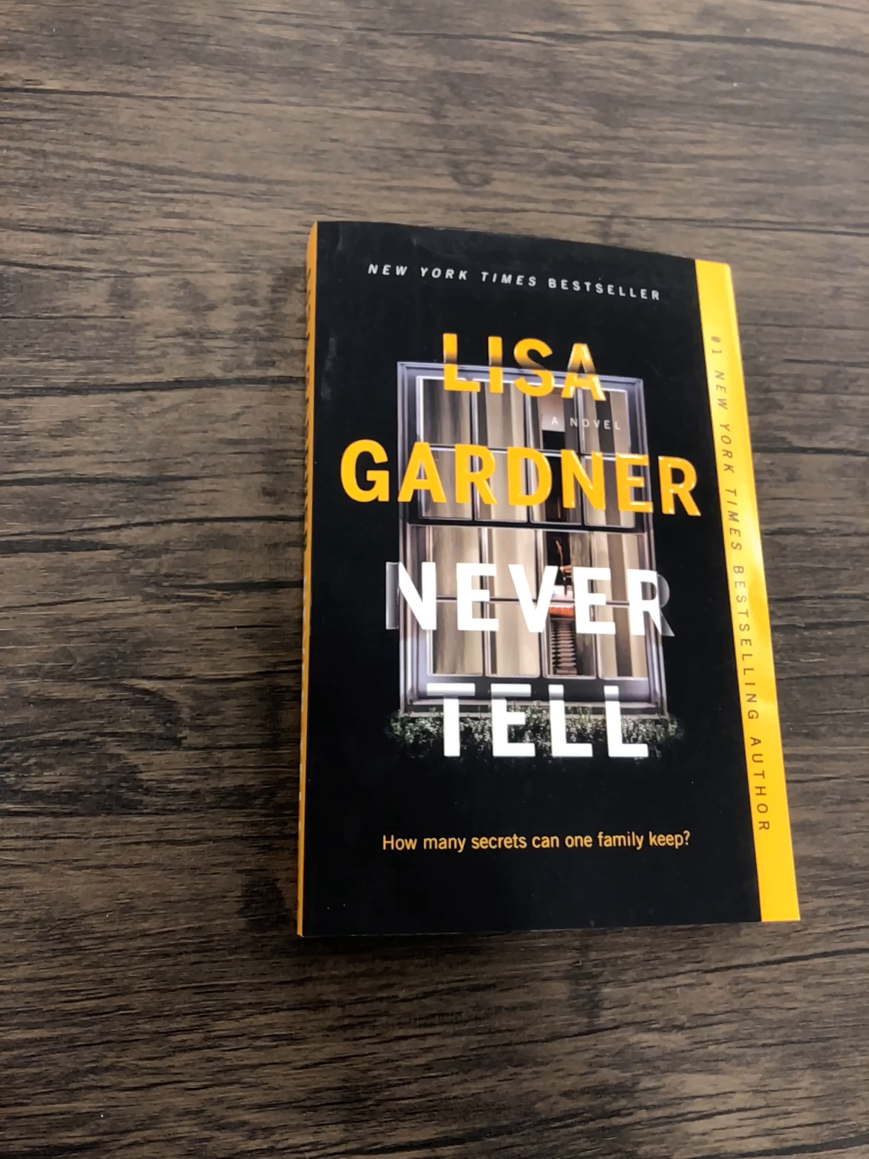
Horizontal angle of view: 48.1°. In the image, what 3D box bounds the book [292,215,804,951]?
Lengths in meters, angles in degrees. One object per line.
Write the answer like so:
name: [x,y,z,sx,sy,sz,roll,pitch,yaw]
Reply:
book: [0.030,-0.002,0.294,0.137,0.032,0.207,2,75,-11]
